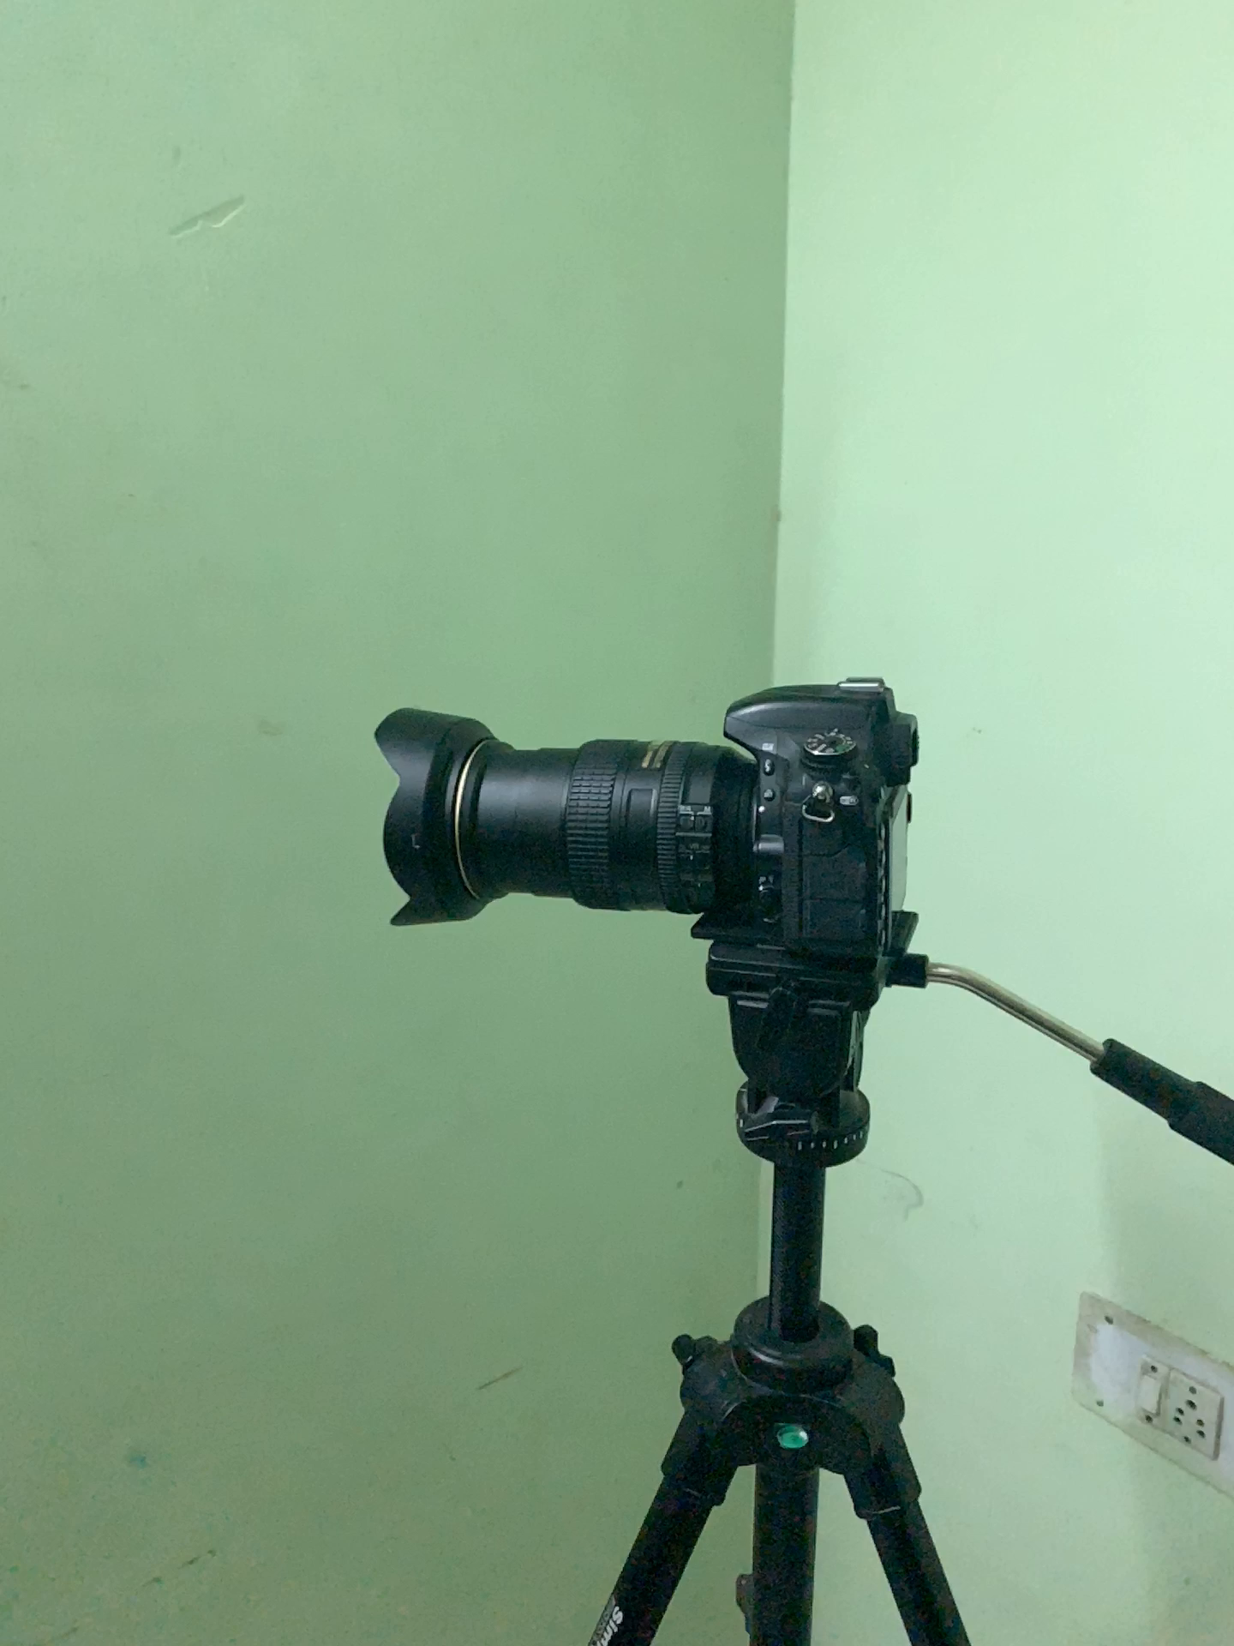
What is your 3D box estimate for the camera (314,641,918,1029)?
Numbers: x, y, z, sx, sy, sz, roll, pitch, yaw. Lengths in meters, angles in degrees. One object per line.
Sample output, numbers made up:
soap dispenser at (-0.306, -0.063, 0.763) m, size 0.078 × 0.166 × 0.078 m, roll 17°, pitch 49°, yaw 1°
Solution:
camera at (0.009, -0.009, 0.620) m, size 0.250 × 0.131 × 0.164 m, roll 5°, pitch 16°, yaw 17°
